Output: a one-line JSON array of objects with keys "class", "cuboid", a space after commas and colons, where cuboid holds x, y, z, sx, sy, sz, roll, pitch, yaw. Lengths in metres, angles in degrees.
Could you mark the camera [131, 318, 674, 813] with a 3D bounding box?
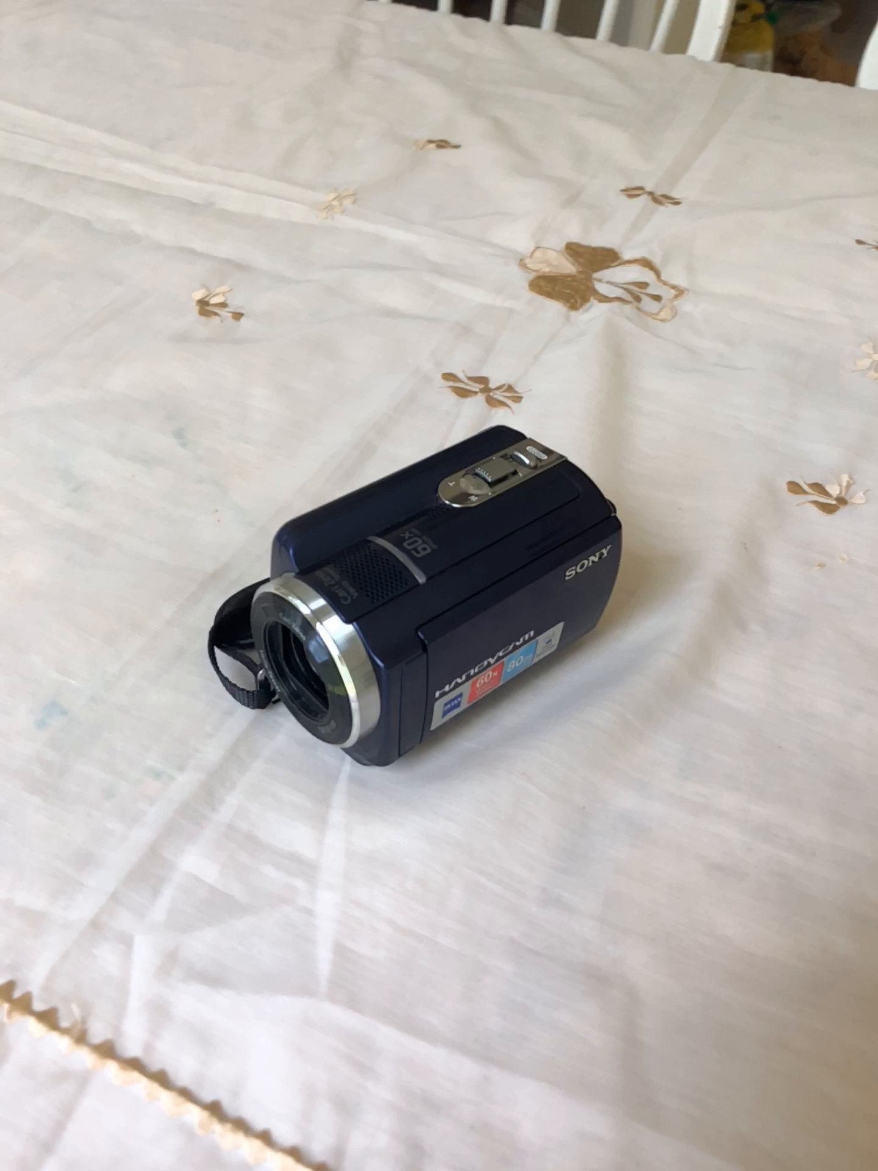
[{"class": "camera", "cuboid": [-0.010, -0.014, 0.290, 0.119, 0.070, 0.090, -29, 52, -31]}]
